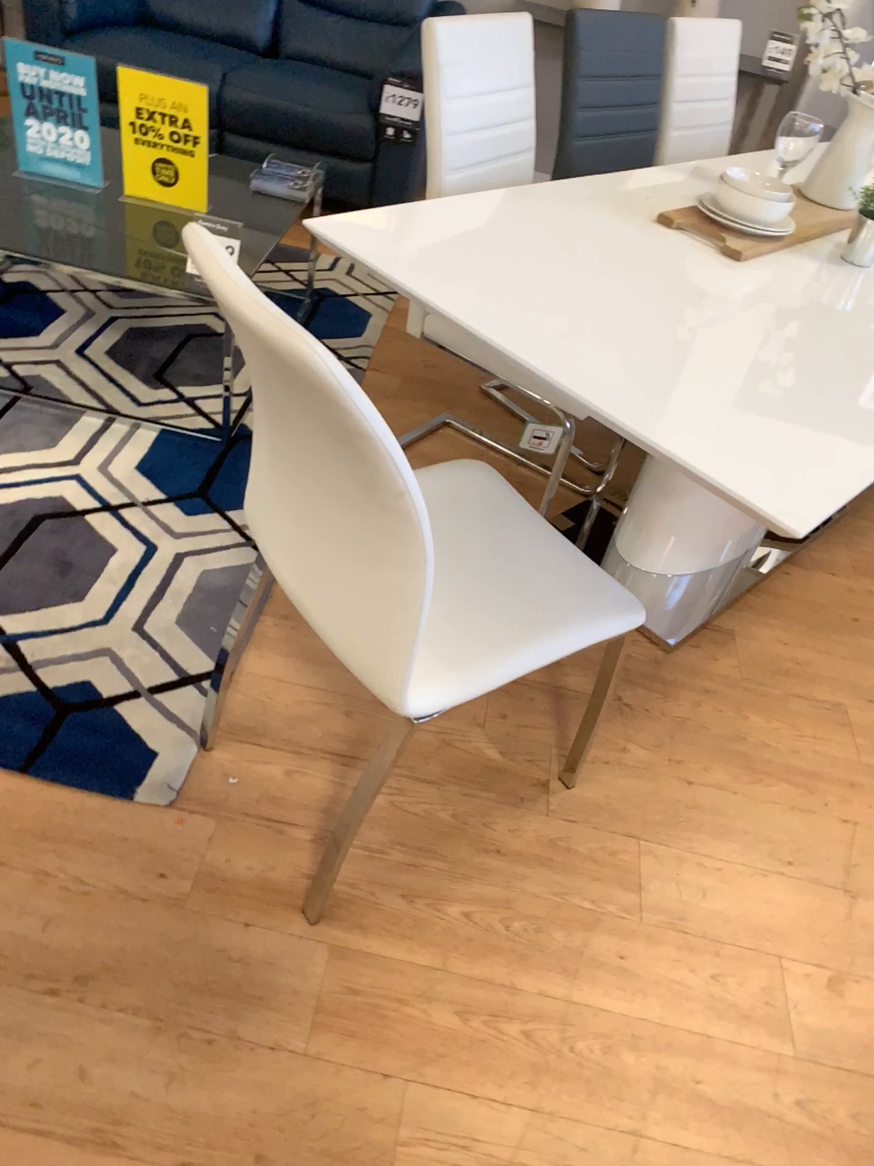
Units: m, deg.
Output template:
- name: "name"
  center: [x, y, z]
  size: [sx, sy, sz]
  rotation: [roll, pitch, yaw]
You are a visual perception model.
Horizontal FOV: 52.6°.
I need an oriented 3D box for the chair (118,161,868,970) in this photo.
- name: "chair"
  center: [-0.005, -0.040, 1.239]
  size: [0.673, 0.881, 0.493]
  rotation: [-17, 49, -32]
